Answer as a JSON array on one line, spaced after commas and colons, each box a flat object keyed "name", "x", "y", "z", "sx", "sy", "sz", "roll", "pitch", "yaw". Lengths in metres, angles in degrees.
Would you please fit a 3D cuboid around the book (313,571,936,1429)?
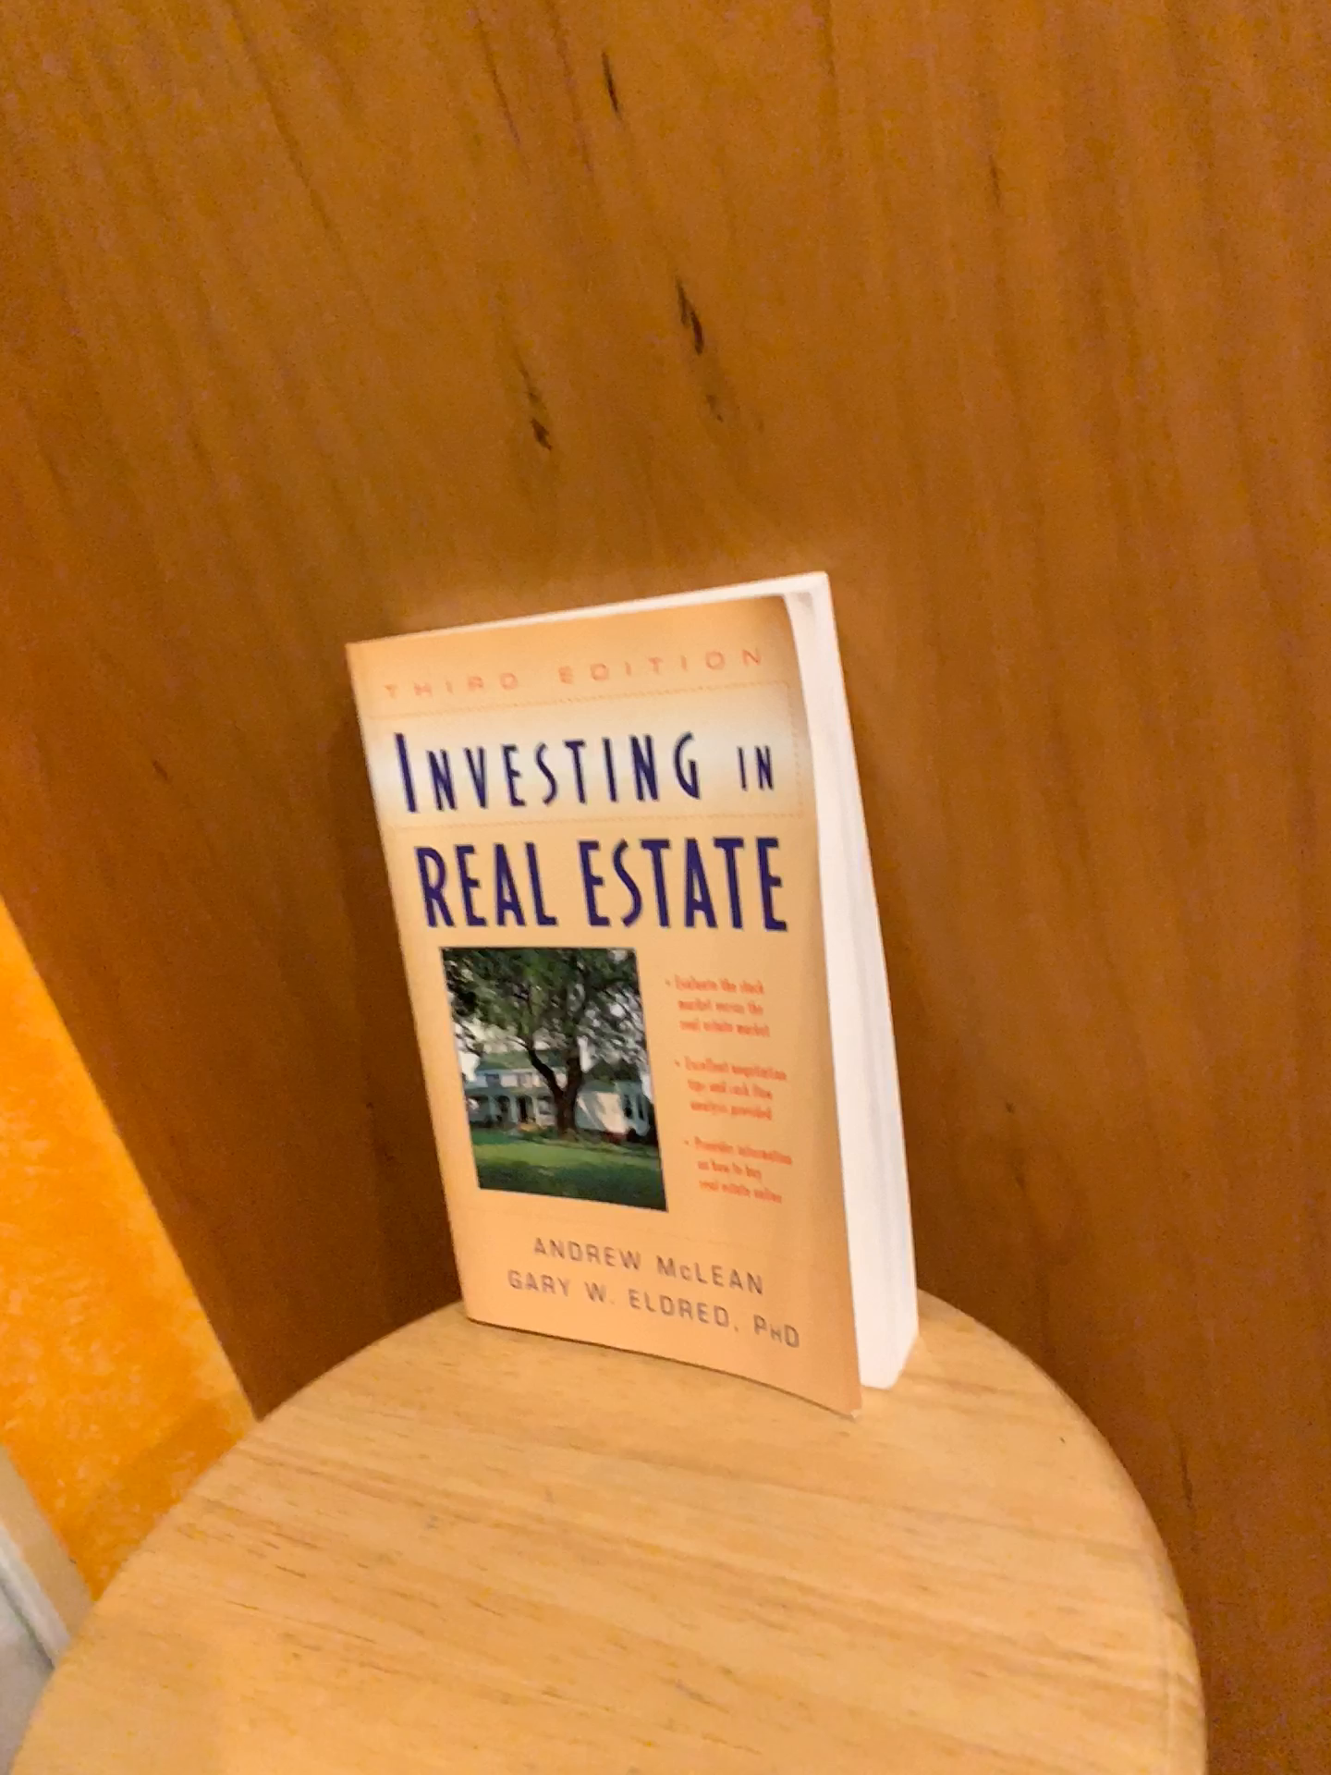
[{"name": "book", "x": -0.013, "y": 0.031, "z": 0.416, "sx": 0.160, "sy": 0.229, "sz": 0.050, "roll": -1, "pitch": 11, "yaw": 30}]
